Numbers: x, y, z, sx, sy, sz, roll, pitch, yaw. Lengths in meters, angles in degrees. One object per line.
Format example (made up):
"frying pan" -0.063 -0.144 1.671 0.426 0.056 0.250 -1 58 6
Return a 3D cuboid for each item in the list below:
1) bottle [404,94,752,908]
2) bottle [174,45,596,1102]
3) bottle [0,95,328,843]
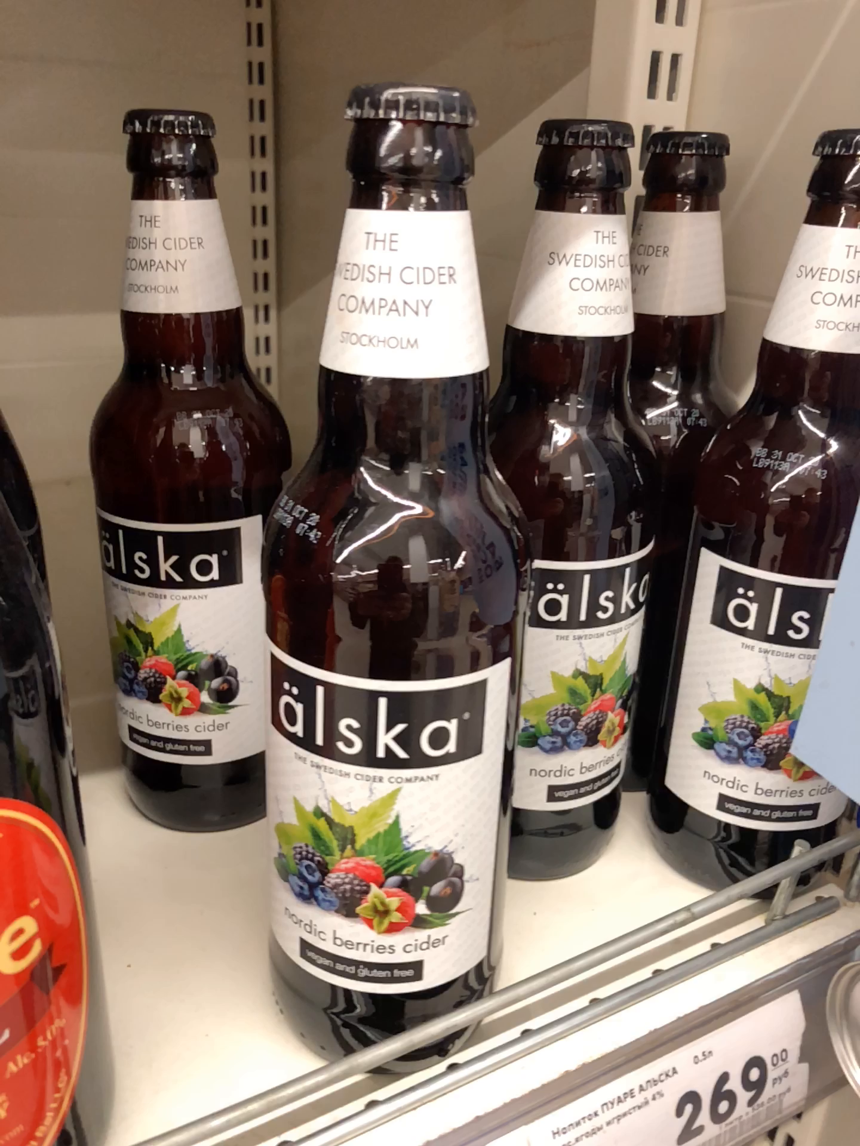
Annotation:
"bottle" 0.040 -0.019 0.316 0.070 0.244 0.063 -14 26 -35
"bottle" -0.007 0.009 0.227 0.070 0.229 0.063 5 22 8
"bottle" -0.082 -0.031 0.333 0.075 0.235 0.077 2 22 -1
